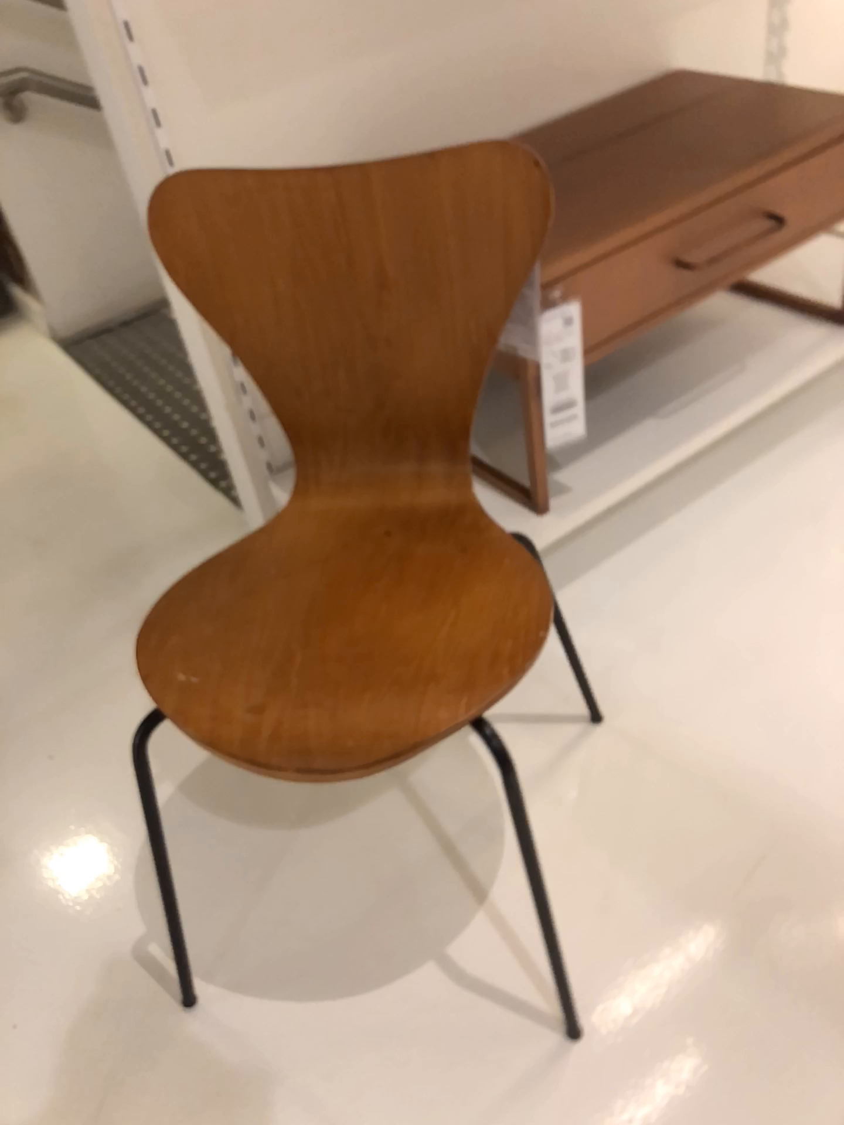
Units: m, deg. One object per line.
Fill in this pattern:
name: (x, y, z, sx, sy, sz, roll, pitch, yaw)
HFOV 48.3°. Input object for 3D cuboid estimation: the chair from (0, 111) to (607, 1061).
chair: (-0.088, 0.049, 1.024, 0.540, 0.794, 0.574, -1, 41, 13)
